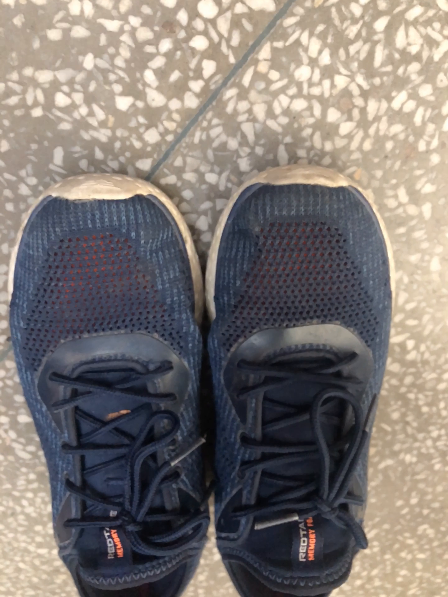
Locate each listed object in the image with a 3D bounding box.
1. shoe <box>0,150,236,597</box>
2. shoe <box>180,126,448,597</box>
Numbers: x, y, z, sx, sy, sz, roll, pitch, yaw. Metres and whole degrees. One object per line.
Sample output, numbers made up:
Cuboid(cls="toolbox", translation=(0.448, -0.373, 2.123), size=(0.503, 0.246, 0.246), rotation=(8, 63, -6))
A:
Cuboid(cls="shoe", translation=(-0.059, 0.062, 0.275), size=(0.113, 0.099, 0.250), rotation=(-4, 121, 0))
Cuboid(cls="shoe", translation=(0.049, 0.049, 0.274), size=(0.123, 0.099, 0.250), rotation=(-3, 121, -1))
